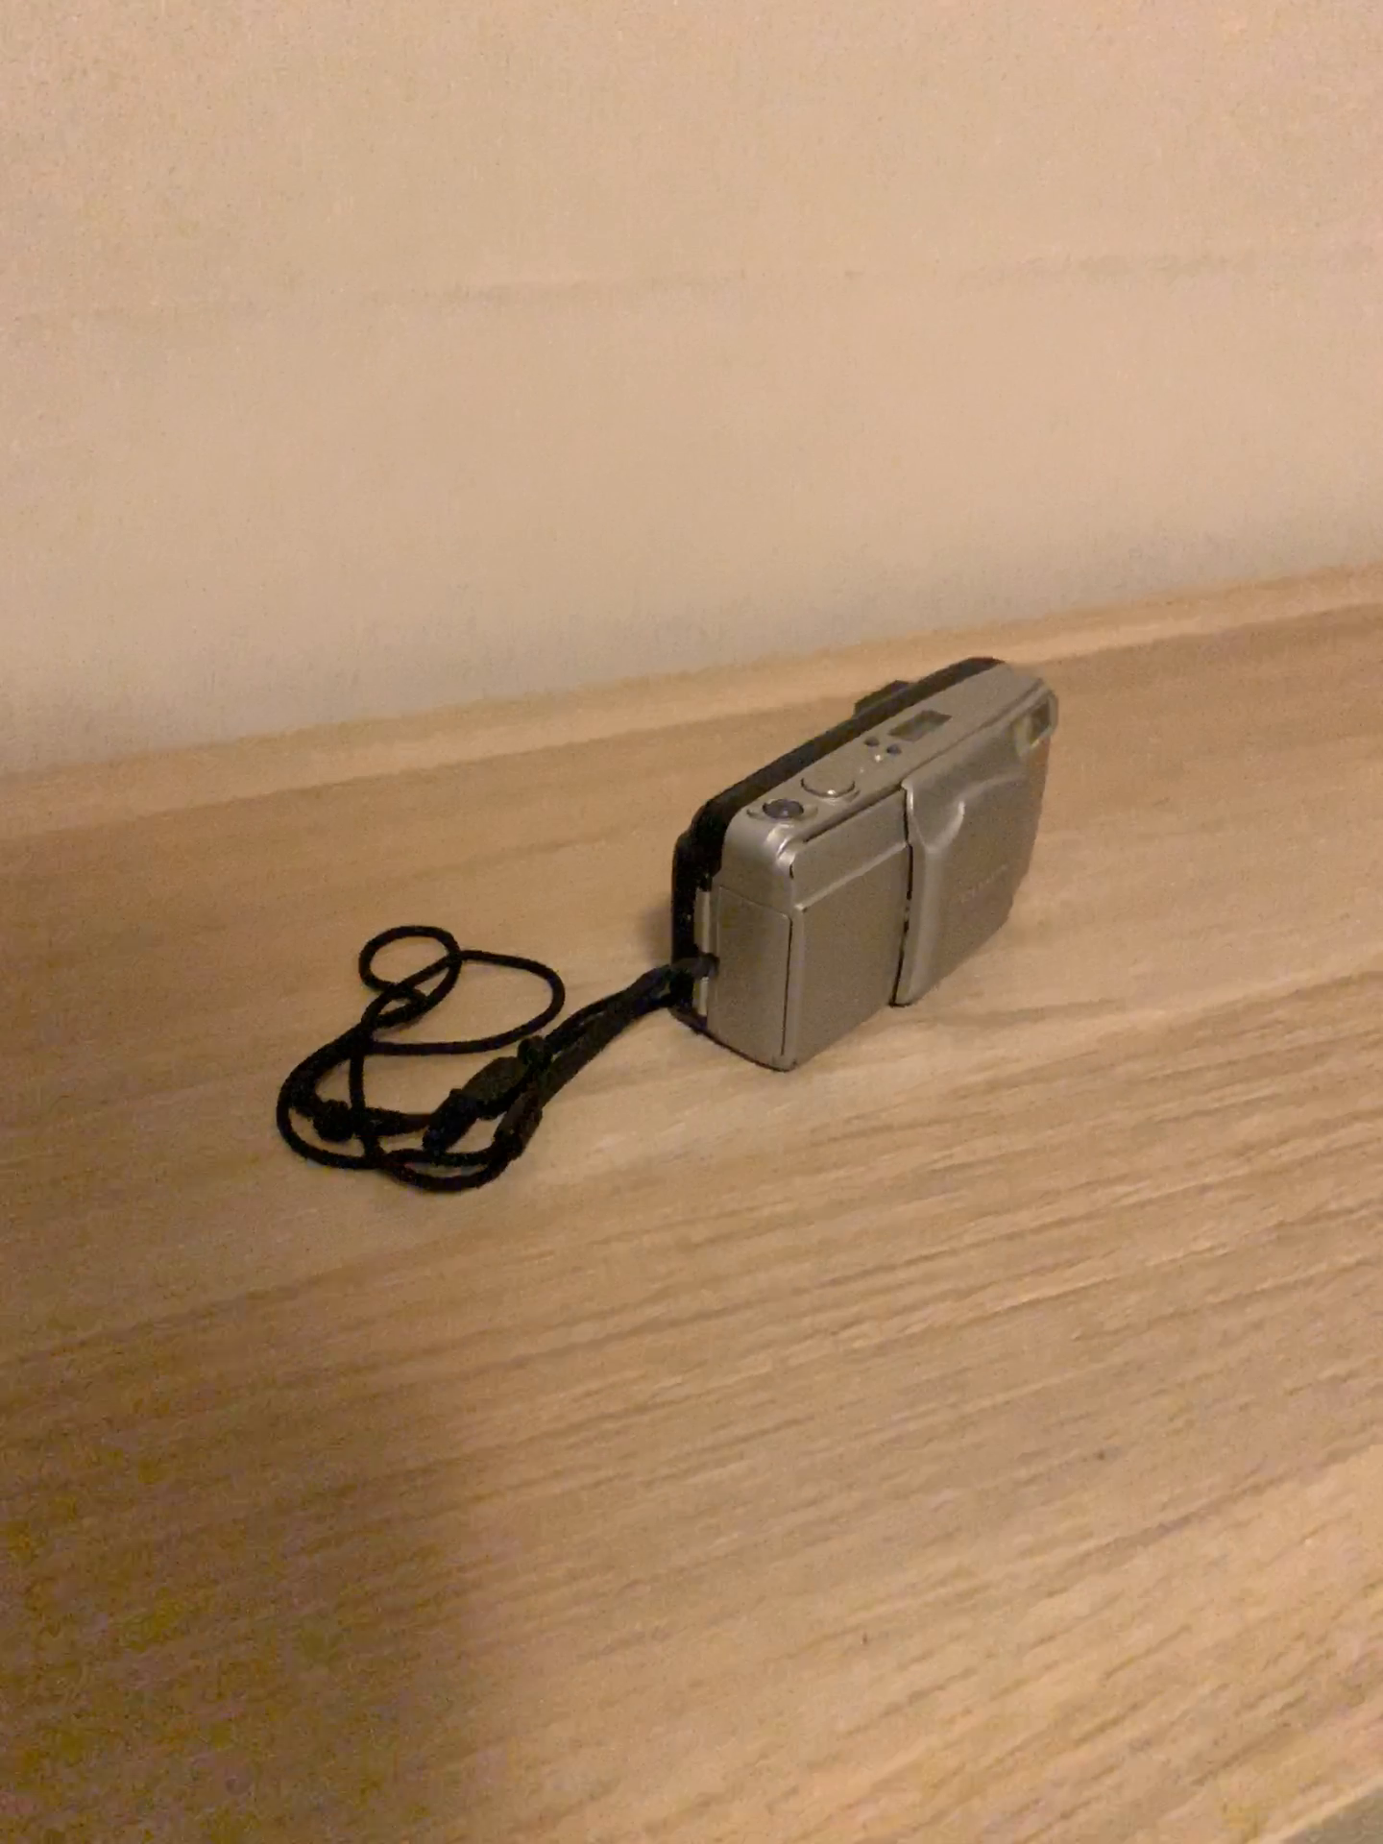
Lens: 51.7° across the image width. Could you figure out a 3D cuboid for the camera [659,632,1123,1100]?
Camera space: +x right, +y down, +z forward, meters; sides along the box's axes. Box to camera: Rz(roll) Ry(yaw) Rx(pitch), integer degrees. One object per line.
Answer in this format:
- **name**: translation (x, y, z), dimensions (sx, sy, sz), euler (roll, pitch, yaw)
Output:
- **camera**: translation (0.051, -0.020, 0.351), dimensions (0.046, 0.059, 0.126), euler (25, 39, 33)
